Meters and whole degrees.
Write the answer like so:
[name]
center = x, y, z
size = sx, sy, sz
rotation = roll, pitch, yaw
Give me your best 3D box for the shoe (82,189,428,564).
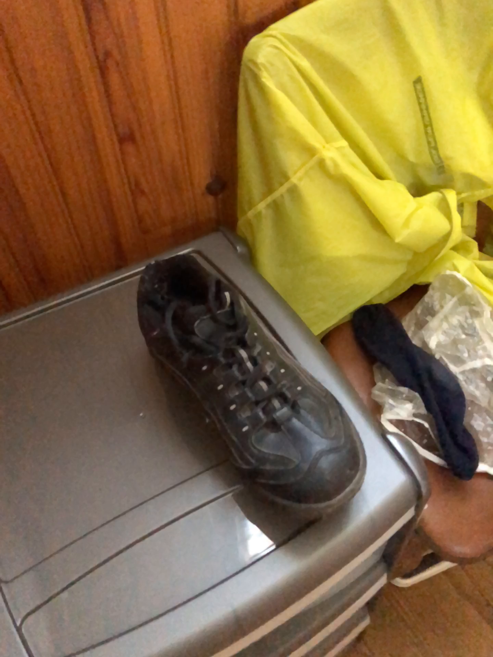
[shoe]
center = -0.007, 0.024, 0.441
size = 0.110, 0.129, 0.271
rotation = -31, 54, -20
